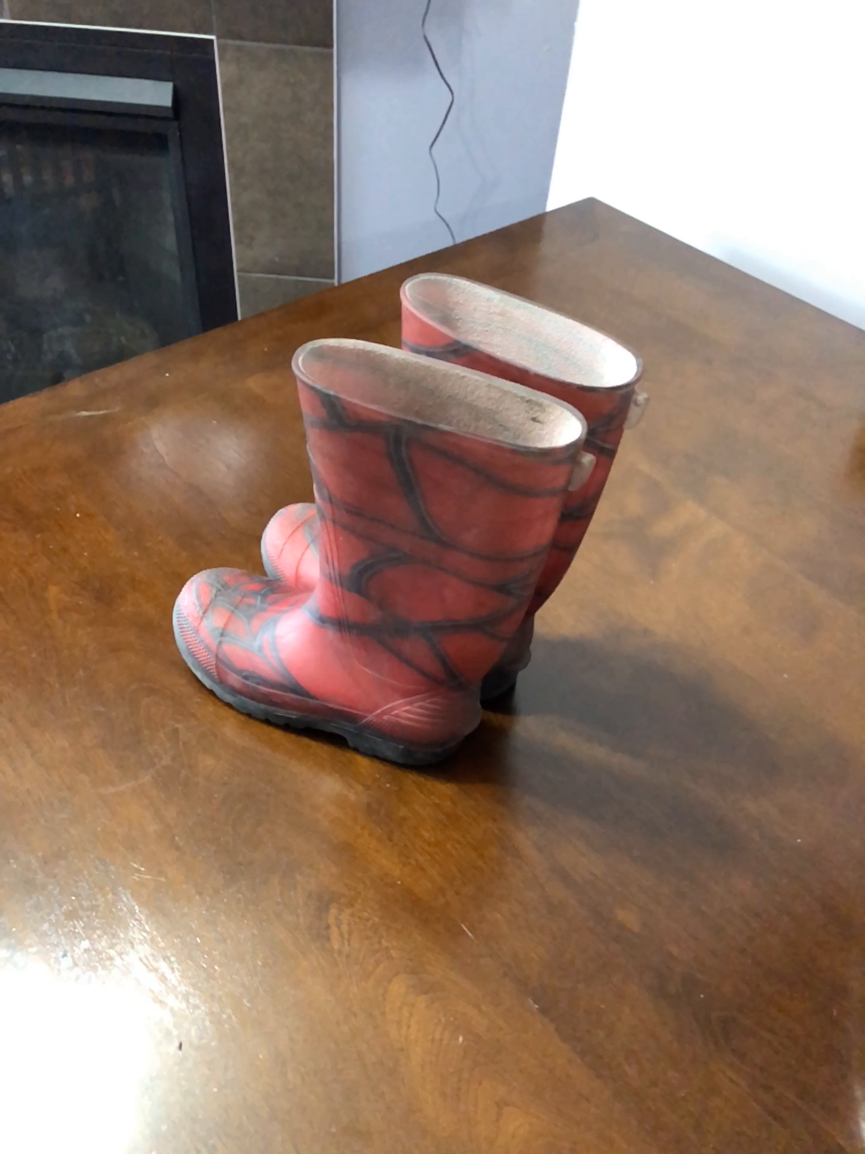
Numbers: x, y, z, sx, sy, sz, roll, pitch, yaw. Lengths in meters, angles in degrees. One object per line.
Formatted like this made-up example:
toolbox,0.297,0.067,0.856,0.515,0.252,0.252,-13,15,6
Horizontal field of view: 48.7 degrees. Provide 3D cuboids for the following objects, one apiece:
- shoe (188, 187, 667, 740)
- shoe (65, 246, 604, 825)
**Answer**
shoe,-0.014,-0.058,0.540,0.220,0.239,0.080,26,48,20
shoe,-0.051,-0.013,0.495,0.220,0.239,0.080,22,47,16
